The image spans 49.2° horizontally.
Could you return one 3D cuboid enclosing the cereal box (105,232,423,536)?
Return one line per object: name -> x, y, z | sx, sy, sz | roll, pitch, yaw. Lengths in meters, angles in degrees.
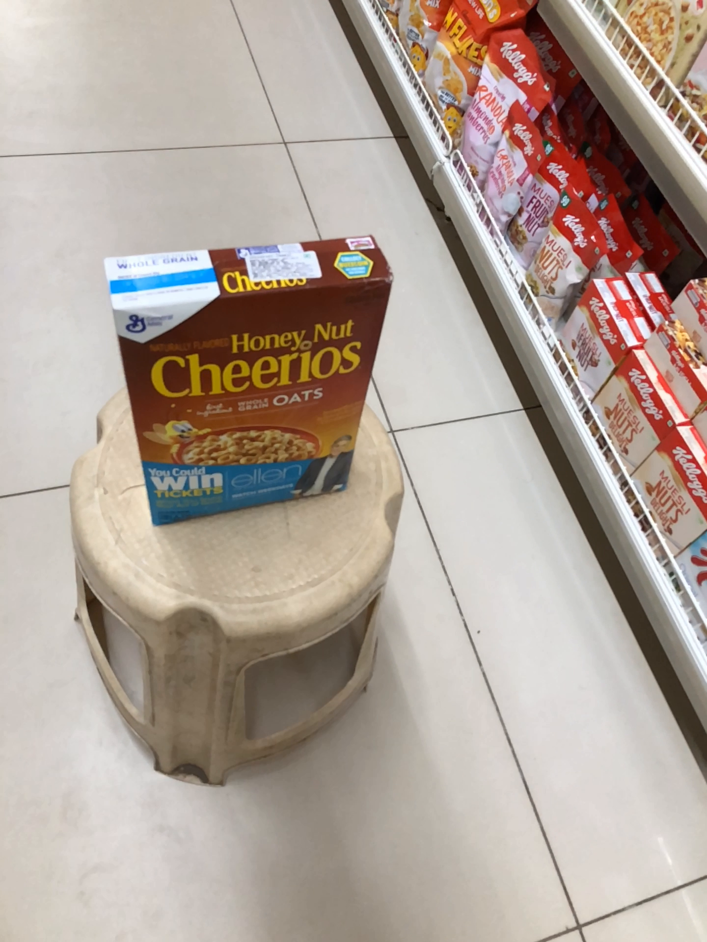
cereal box -> -0.076, -0.052, 0.597 | 0.190, 0.279, 0.050 | -10, 62, -17
